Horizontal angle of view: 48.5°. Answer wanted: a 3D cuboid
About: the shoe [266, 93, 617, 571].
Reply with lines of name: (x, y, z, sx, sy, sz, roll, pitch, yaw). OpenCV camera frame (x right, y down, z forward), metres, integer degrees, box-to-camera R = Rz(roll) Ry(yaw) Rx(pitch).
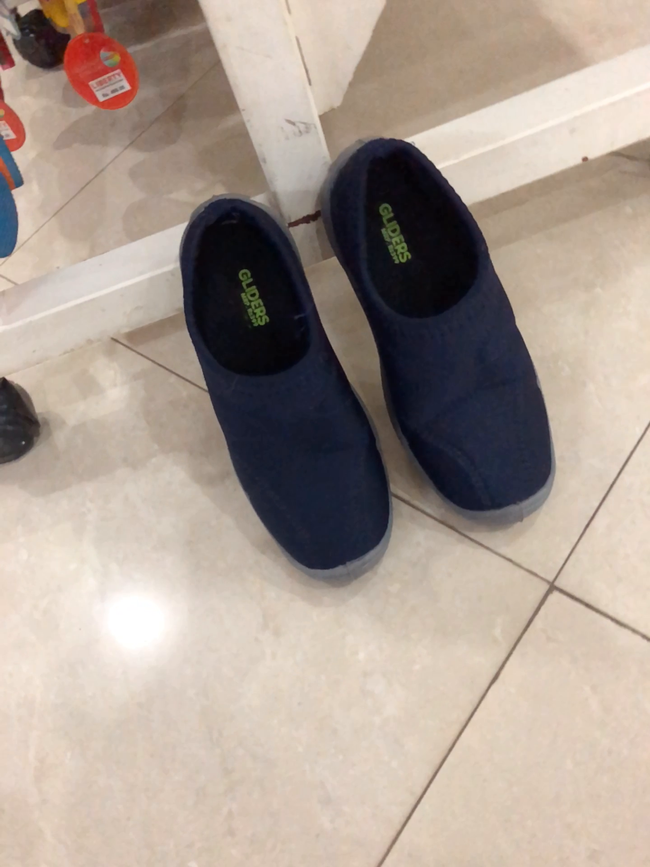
shoe: (0.122, -0.107, 0.874, 0.186, 0.207, 0.489, -24, 82, 1)

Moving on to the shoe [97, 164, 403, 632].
shoe: (-0.083, -0.034, 0.840, 0.160, 0.200, 0.460, -22, 84, -3)
